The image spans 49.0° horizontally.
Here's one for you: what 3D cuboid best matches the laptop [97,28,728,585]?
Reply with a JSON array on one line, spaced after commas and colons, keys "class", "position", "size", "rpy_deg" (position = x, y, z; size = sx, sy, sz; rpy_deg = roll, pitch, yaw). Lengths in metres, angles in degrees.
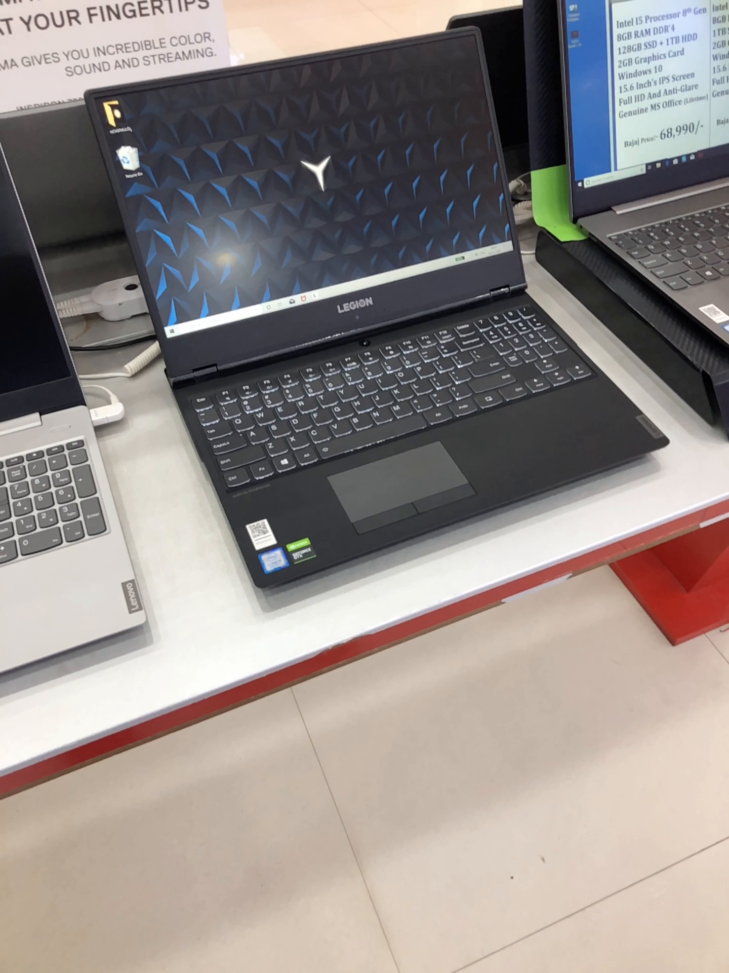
[{"class": "laptop", "position": [0.017, -0.168, 0.621], "size": [0.334, 0.191, 0.348], "rpy_deg": [-18, 51, -16]}]
